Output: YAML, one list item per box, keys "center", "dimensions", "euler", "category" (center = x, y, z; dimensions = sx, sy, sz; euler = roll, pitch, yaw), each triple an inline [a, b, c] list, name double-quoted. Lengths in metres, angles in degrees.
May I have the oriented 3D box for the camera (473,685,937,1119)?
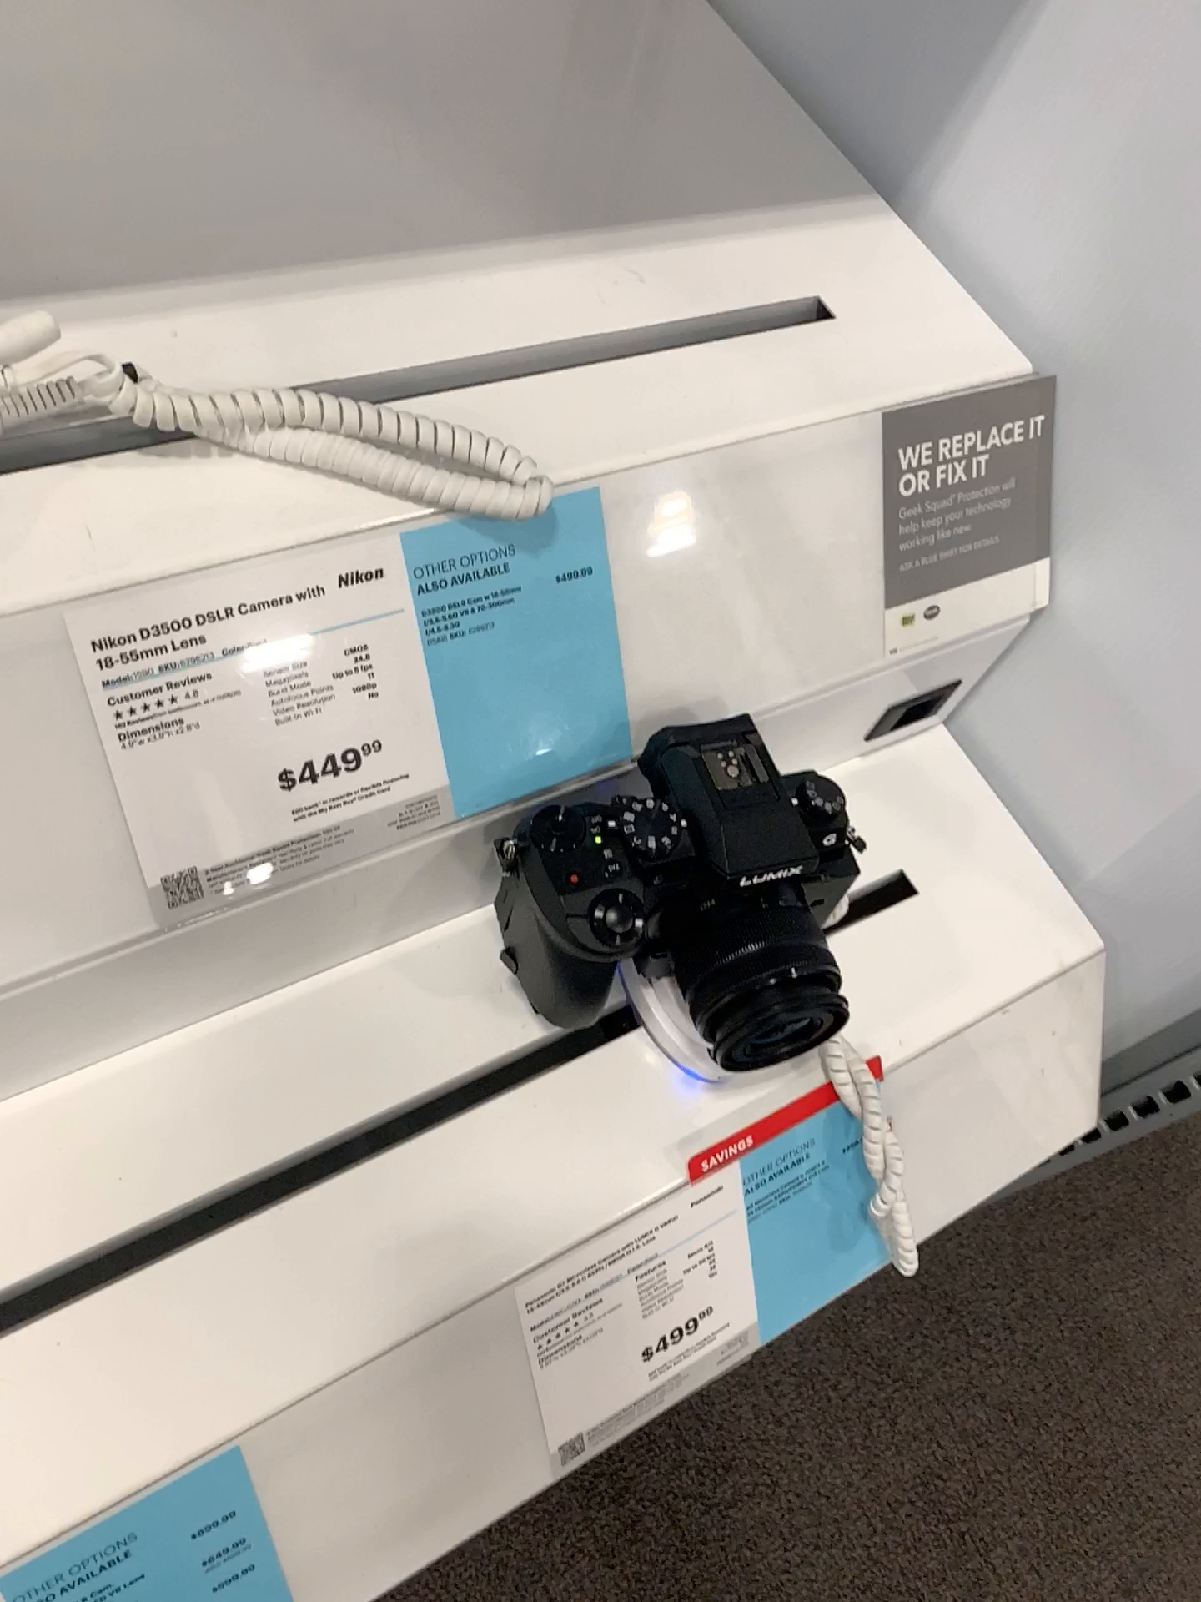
- center: [0.031, 0.035, 0.453]
  dimensions: [0.119, 0.080, 0.114]
  euler: [-10, 63, -21]
  category: "camera"
